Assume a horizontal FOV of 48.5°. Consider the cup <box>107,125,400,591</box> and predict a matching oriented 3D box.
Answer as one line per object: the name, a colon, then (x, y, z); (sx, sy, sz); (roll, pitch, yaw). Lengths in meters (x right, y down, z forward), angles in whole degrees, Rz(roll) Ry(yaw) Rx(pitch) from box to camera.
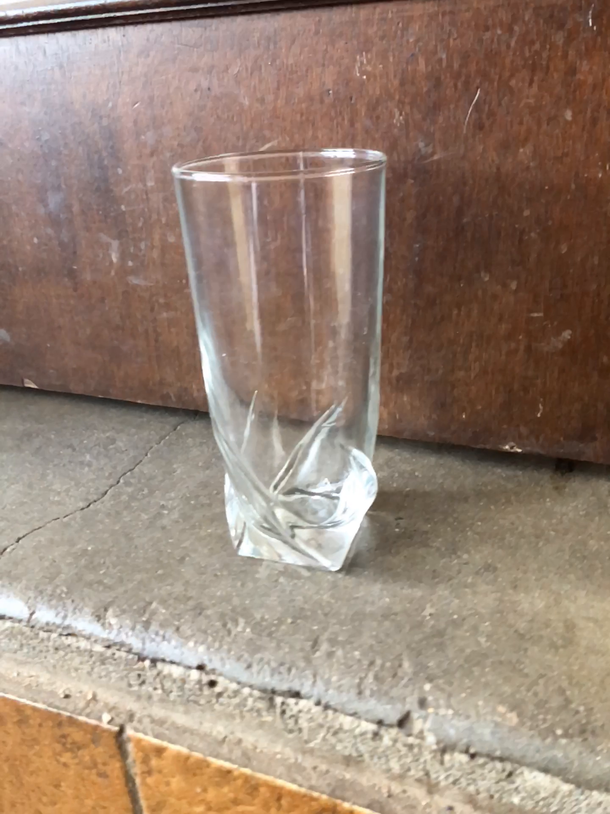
cup: (-0.009, -0.018, 0.232); (0.070, 0.139, 0.060); (5, 27, 18)
